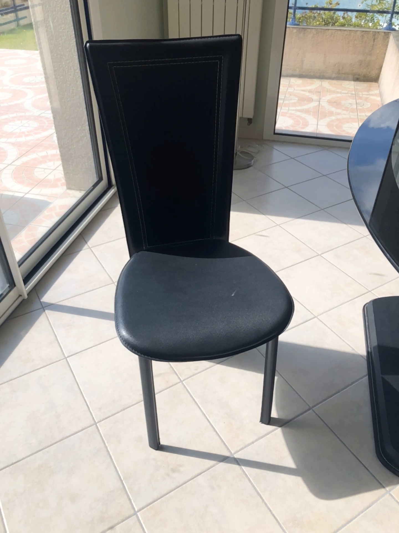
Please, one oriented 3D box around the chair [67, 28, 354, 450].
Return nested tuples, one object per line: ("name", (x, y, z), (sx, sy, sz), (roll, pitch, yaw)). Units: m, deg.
("chair", (-0.026, -0.065, 1.121), (0.451, 0.895, 0.502), (-9, 36, -12))
